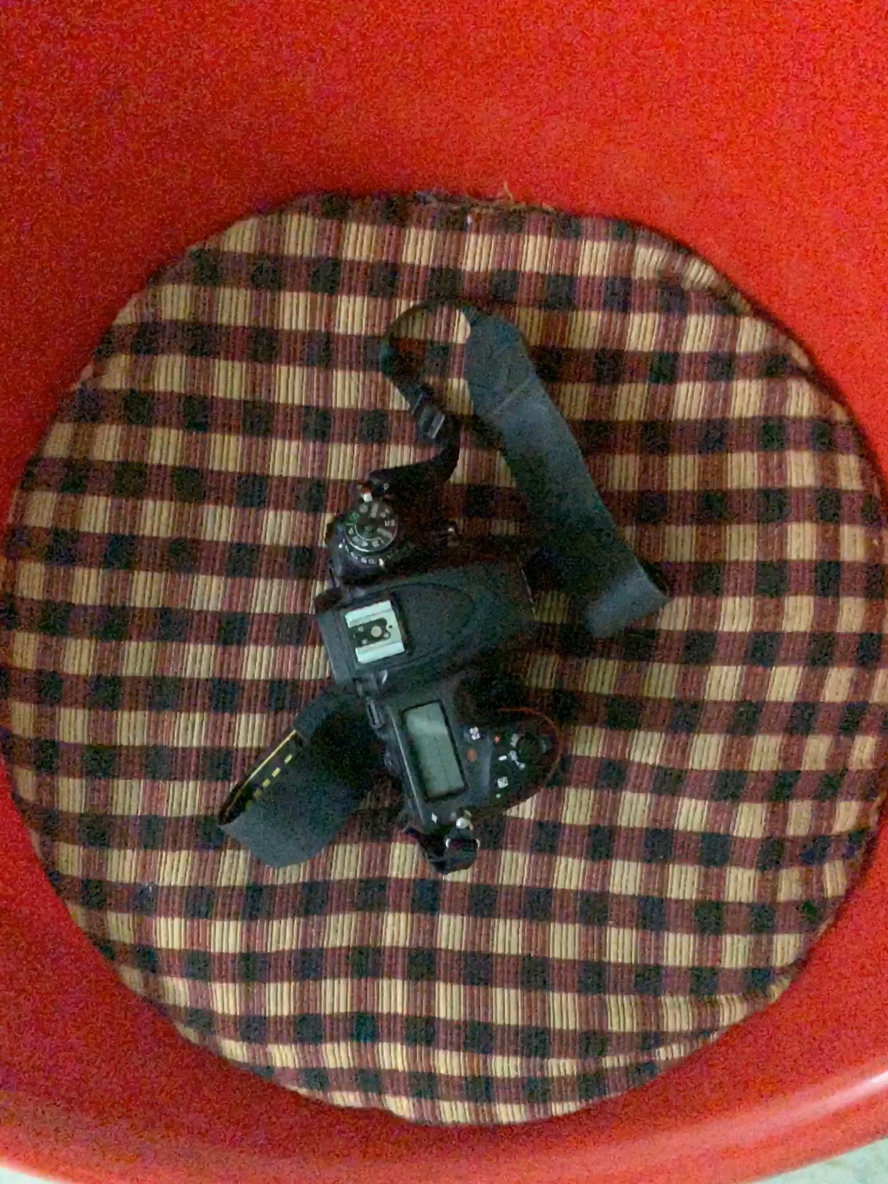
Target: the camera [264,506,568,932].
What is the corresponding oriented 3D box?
[{"bbox_3d":[-0.008,0.043,0.368,0.080,0.090,0.140,-12,96,3],"label":"camera"}]
